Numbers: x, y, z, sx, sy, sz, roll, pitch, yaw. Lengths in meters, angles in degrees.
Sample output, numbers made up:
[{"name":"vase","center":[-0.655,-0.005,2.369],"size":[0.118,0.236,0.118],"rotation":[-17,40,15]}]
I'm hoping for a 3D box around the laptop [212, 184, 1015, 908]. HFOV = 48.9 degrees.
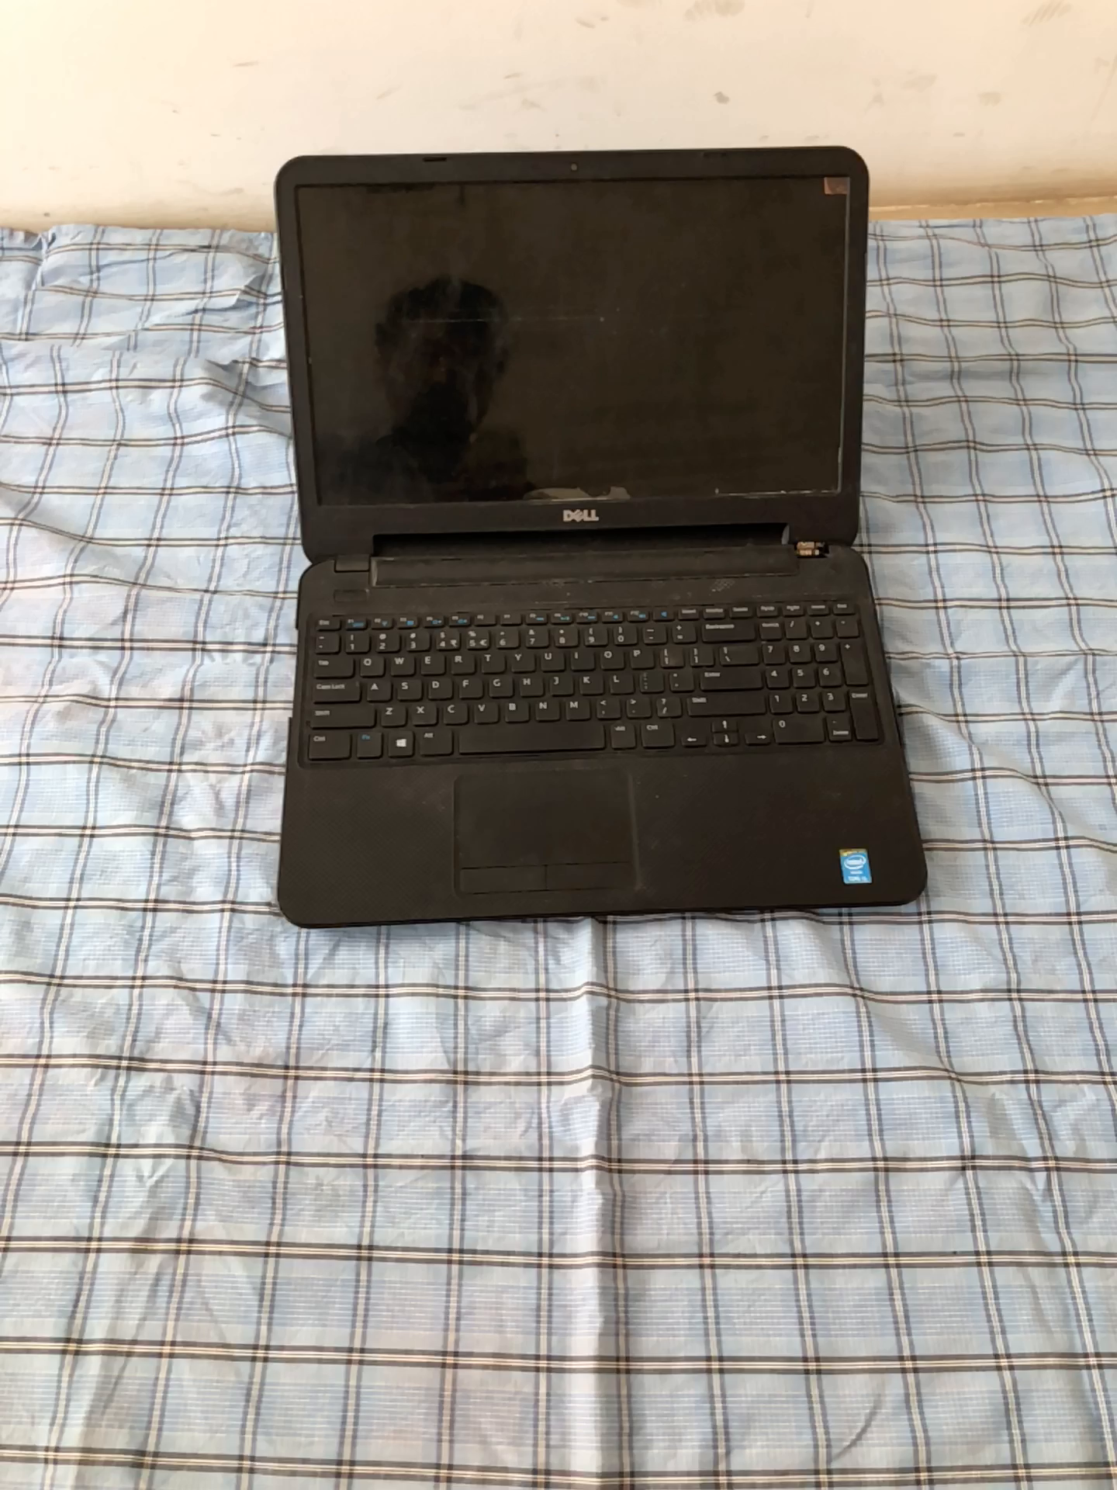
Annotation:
[{"name":"laptop","center":[0.017,-0.129,0.722],"size":[0.355,0.163,0.415],"rotation":[-1,58,-3]}]
